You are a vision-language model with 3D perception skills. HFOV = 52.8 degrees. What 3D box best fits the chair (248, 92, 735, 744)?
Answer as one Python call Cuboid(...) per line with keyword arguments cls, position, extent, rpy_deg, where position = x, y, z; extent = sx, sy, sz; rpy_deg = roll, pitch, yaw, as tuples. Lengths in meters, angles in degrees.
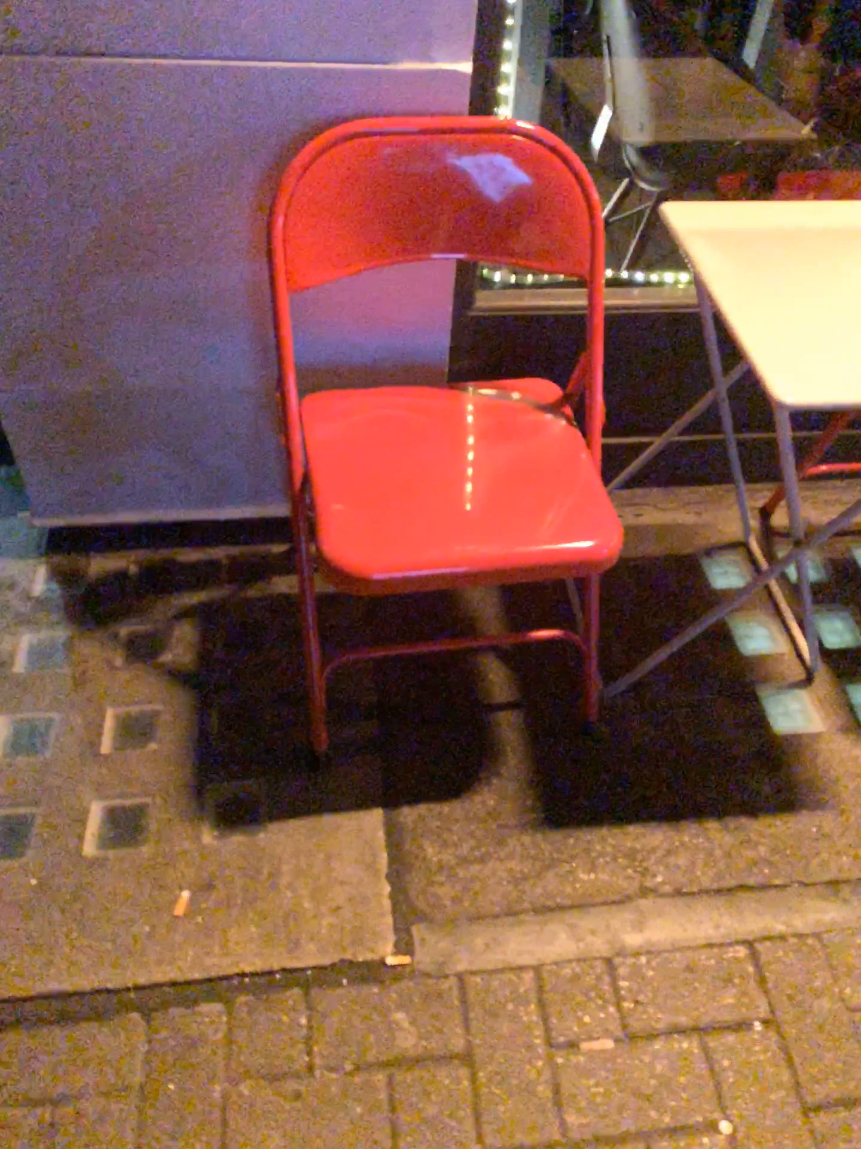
Cuboid(cls="chair", position=(0.008, -0.210, 1.273), extent=(0.470, 0.743, 0.535), rpy_deg=(-4, 46, -9))
